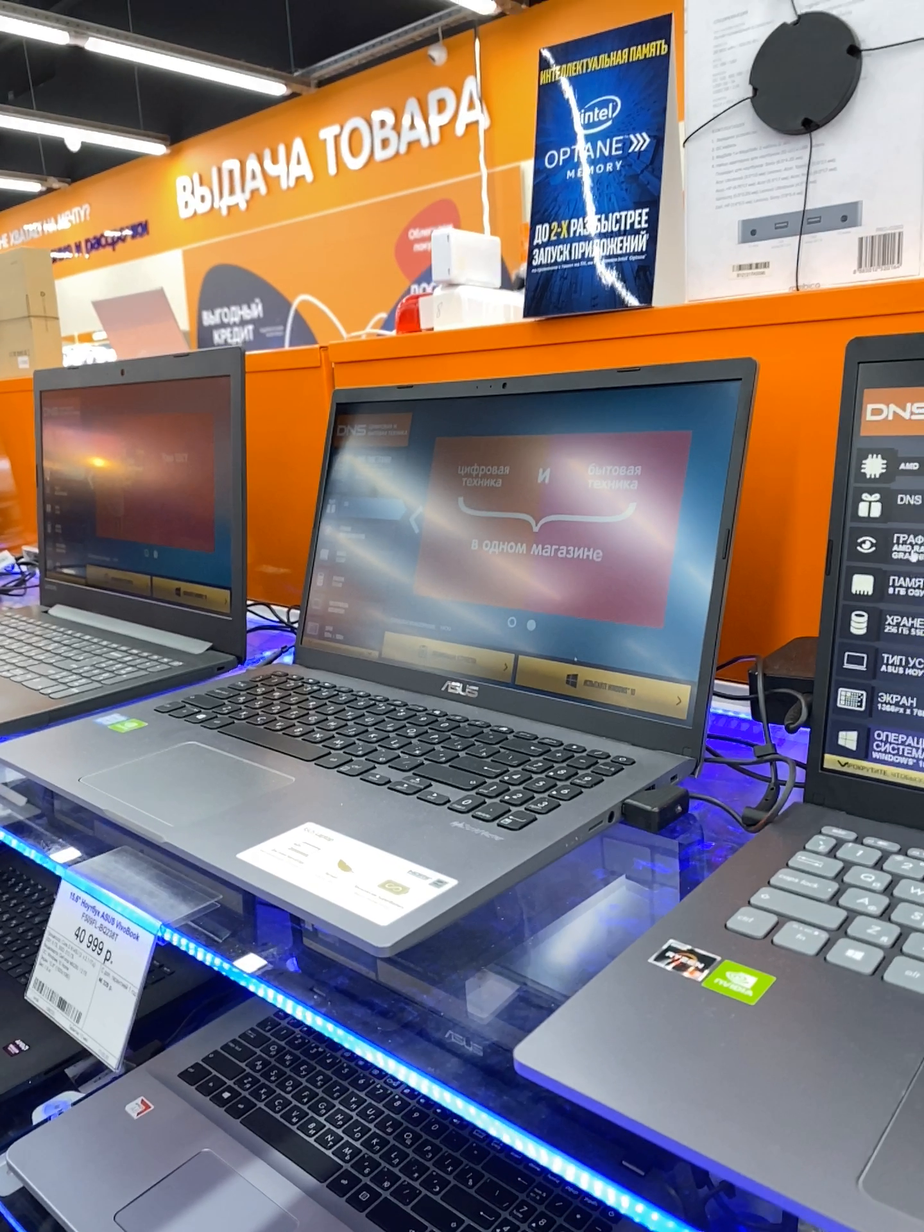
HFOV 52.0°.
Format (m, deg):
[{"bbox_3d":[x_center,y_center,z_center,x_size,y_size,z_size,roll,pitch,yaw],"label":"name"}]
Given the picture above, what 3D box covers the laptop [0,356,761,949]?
[{"bbox_3d":[-0.065,-0.031,0.556,0.358,0.211,0.306,8,16,41],"label":"laptop"}]
